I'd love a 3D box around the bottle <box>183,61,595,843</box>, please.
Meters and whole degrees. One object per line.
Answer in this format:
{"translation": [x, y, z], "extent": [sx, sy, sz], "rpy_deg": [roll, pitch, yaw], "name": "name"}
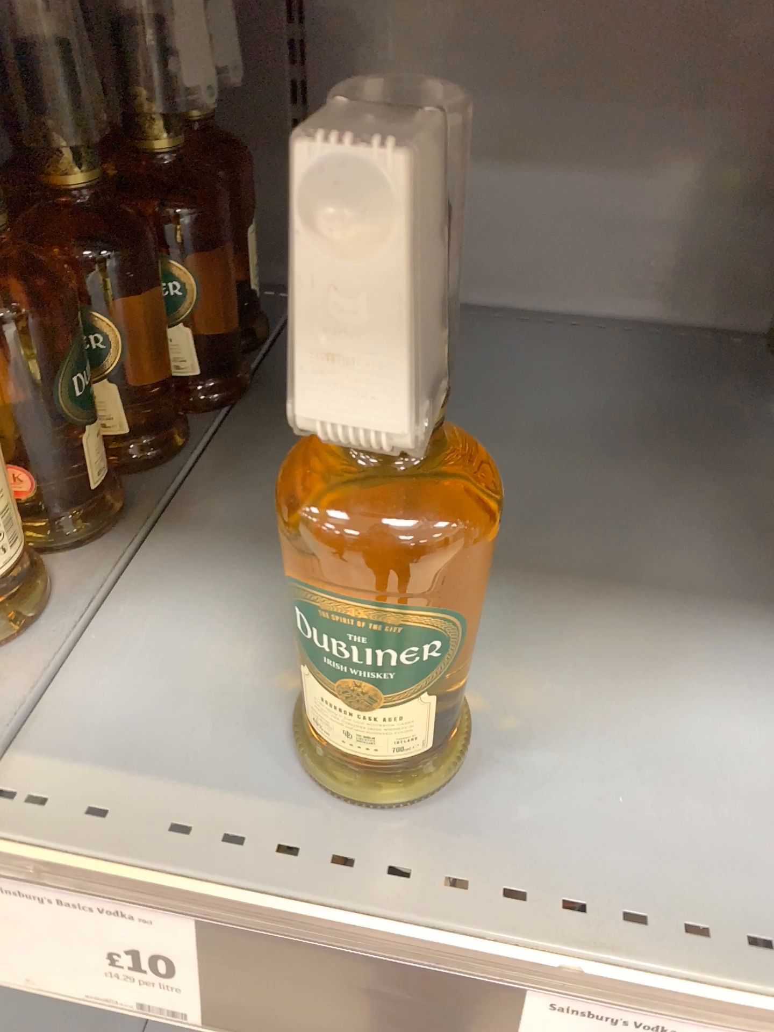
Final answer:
{"translation": [0.004, -0.004, 0.306], "extent": [0.089, 0.283, 0.091], "rpy_deg": [1, 38, -1], "name": "bottle"}
